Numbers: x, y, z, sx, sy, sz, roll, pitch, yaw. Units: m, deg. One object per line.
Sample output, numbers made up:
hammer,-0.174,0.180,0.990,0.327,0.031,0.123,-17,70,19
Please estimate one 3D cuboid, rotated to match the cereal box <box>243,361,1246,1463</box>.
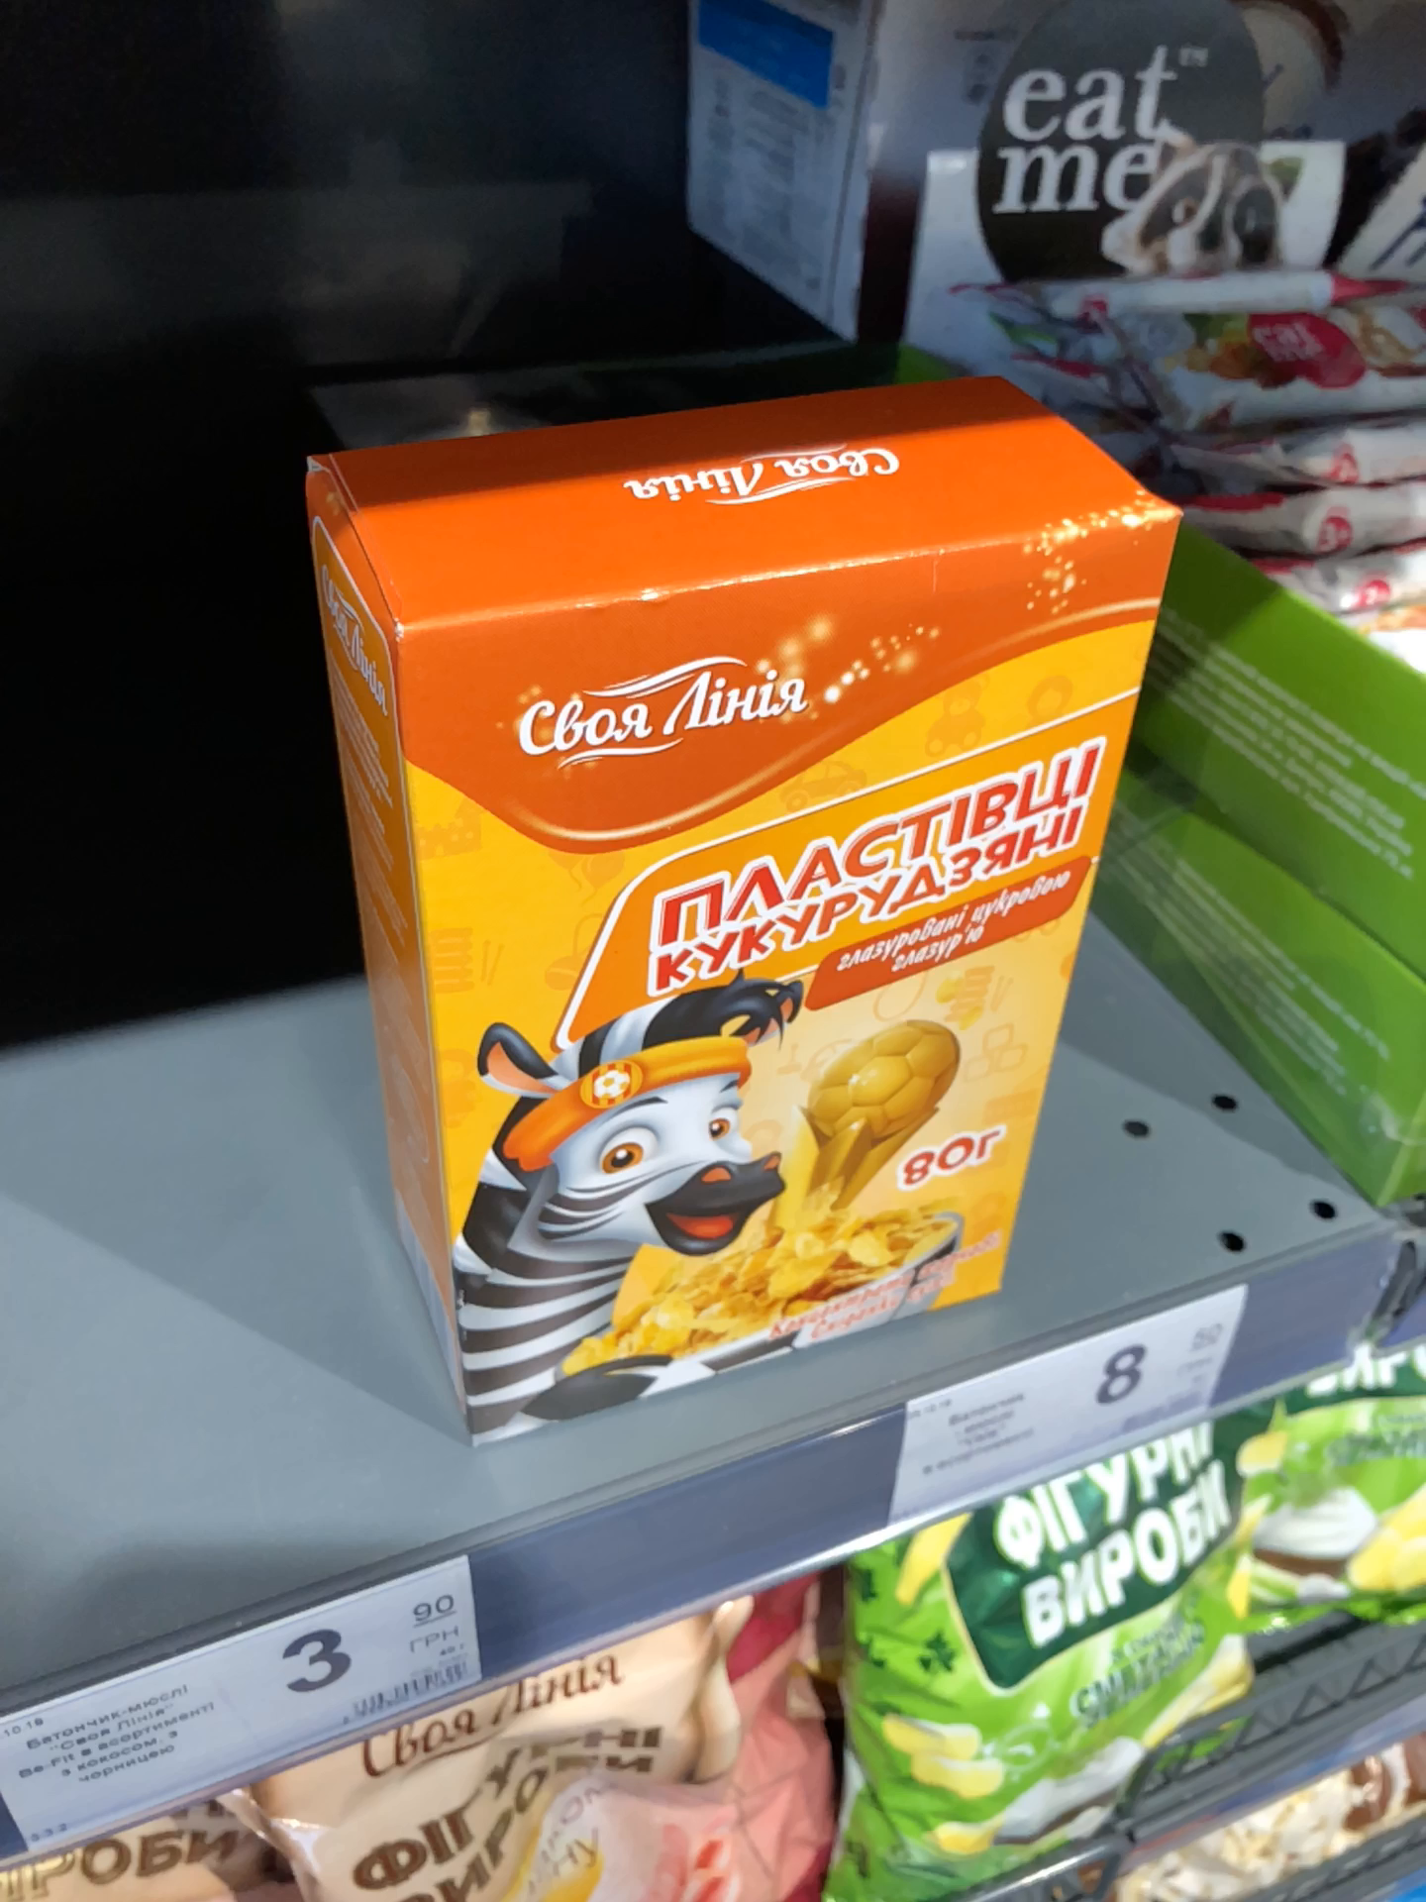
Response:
cereal box,0.001,-0.001,0.257,0.120,0.159,0.050,-12,42,-18
